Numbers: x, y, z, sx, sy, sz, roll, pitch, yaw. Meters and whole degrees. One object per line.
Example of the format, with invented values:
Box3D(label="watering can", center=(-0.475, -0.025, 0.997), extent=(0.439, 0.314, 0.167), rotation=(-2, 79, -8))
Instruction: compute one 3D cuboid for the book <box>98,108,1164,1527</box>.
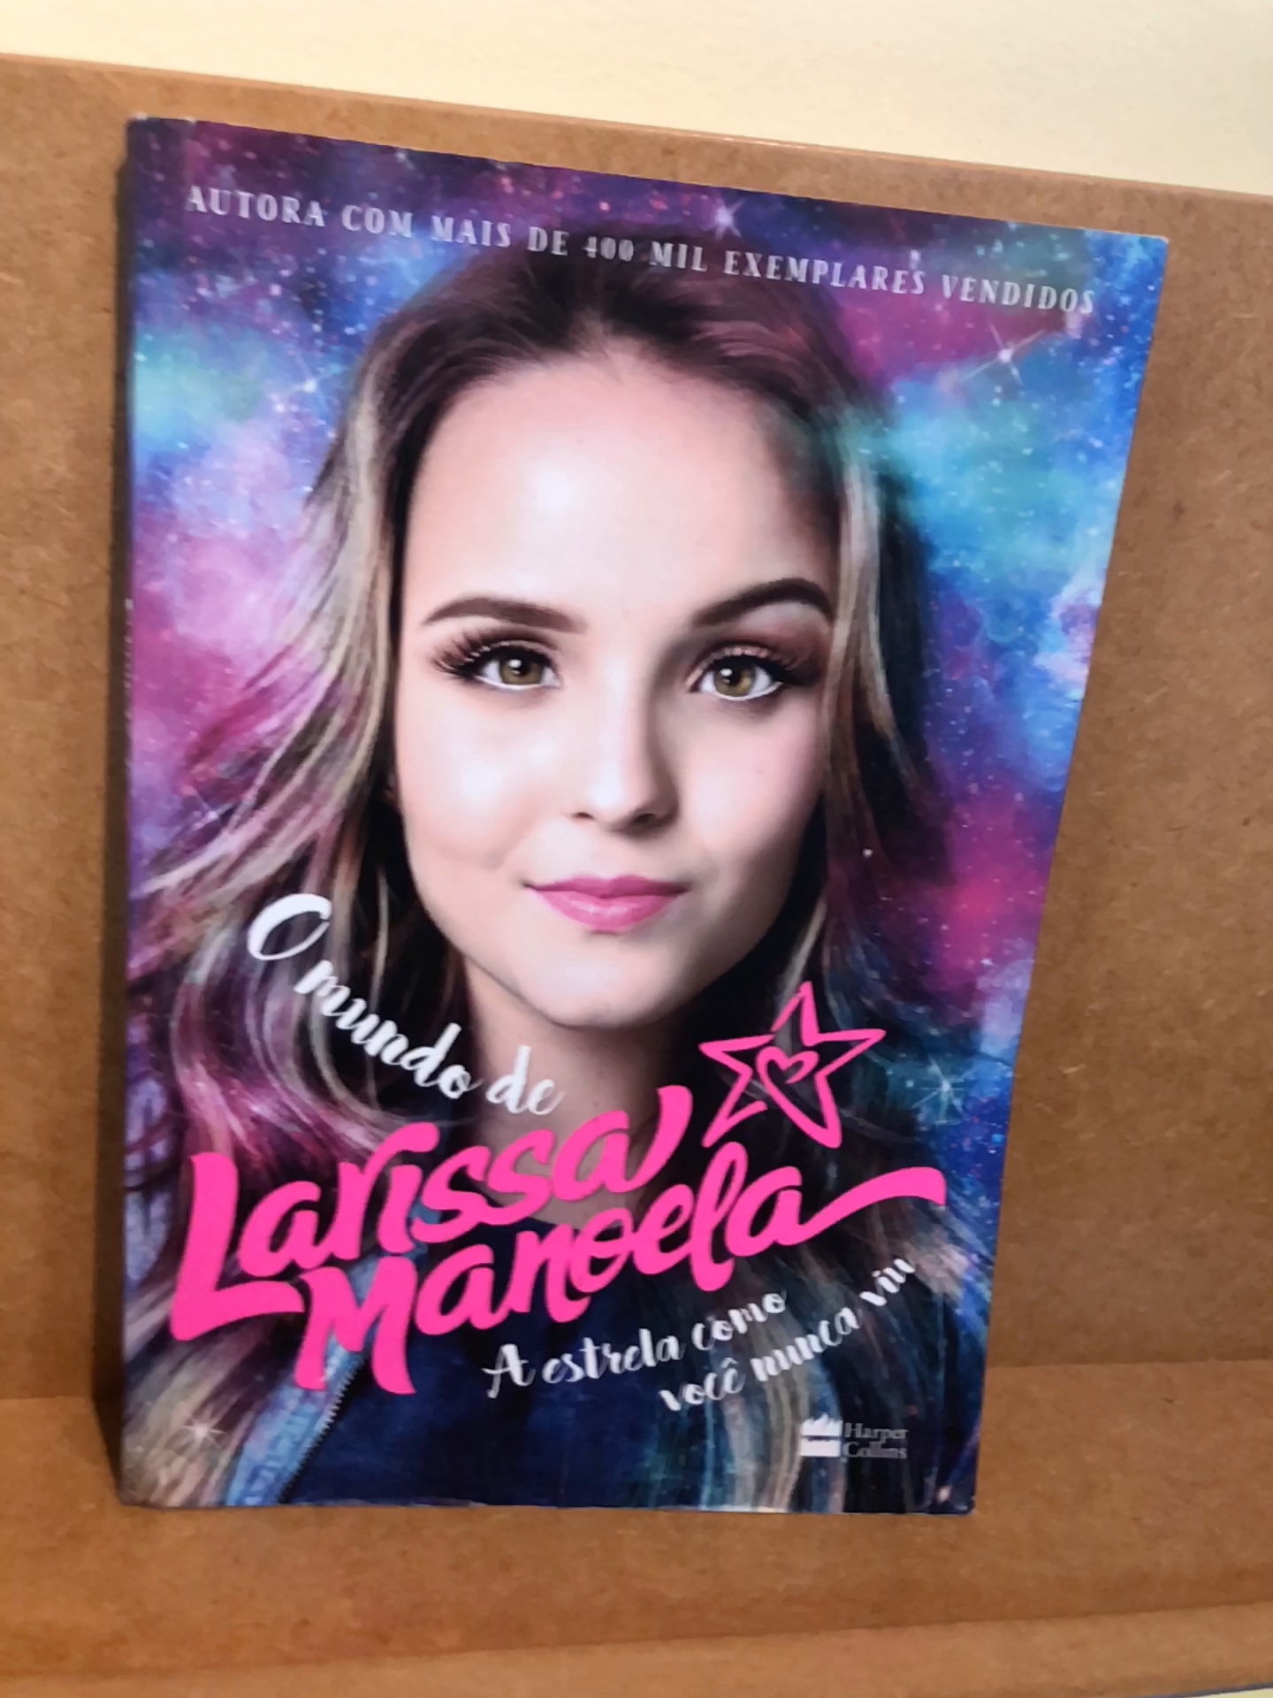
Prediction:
Box3D(label="book", center=(-0.007, 0.009, 0.234), extent=(0.150, 0.222, 0.020), rotation=(3, 14, -6))
